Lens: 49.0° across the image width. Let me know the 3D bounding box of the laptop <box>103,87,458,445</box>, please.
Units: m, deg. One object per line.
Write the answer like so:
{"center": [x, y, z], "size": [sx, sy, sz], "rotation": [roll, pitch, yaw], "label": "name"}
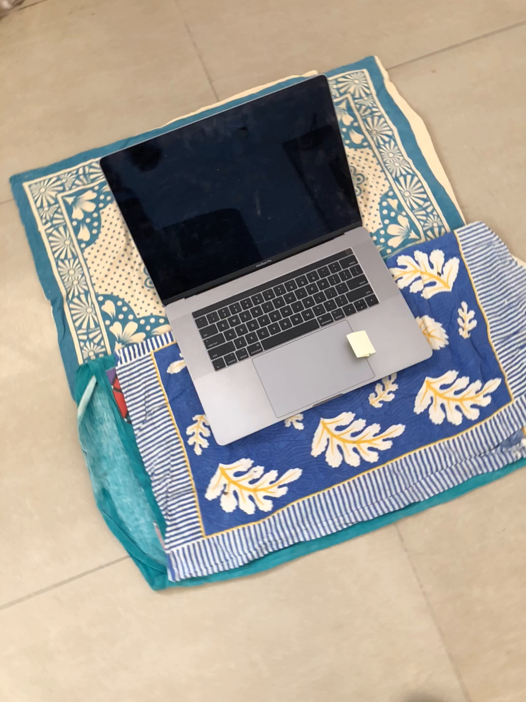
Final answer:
{"center": [0.012, -0.122, 0.825], "size": [0.336, 0.132, 0.401], "rotation": [-22, 75, -5], "label": "laptop"}
